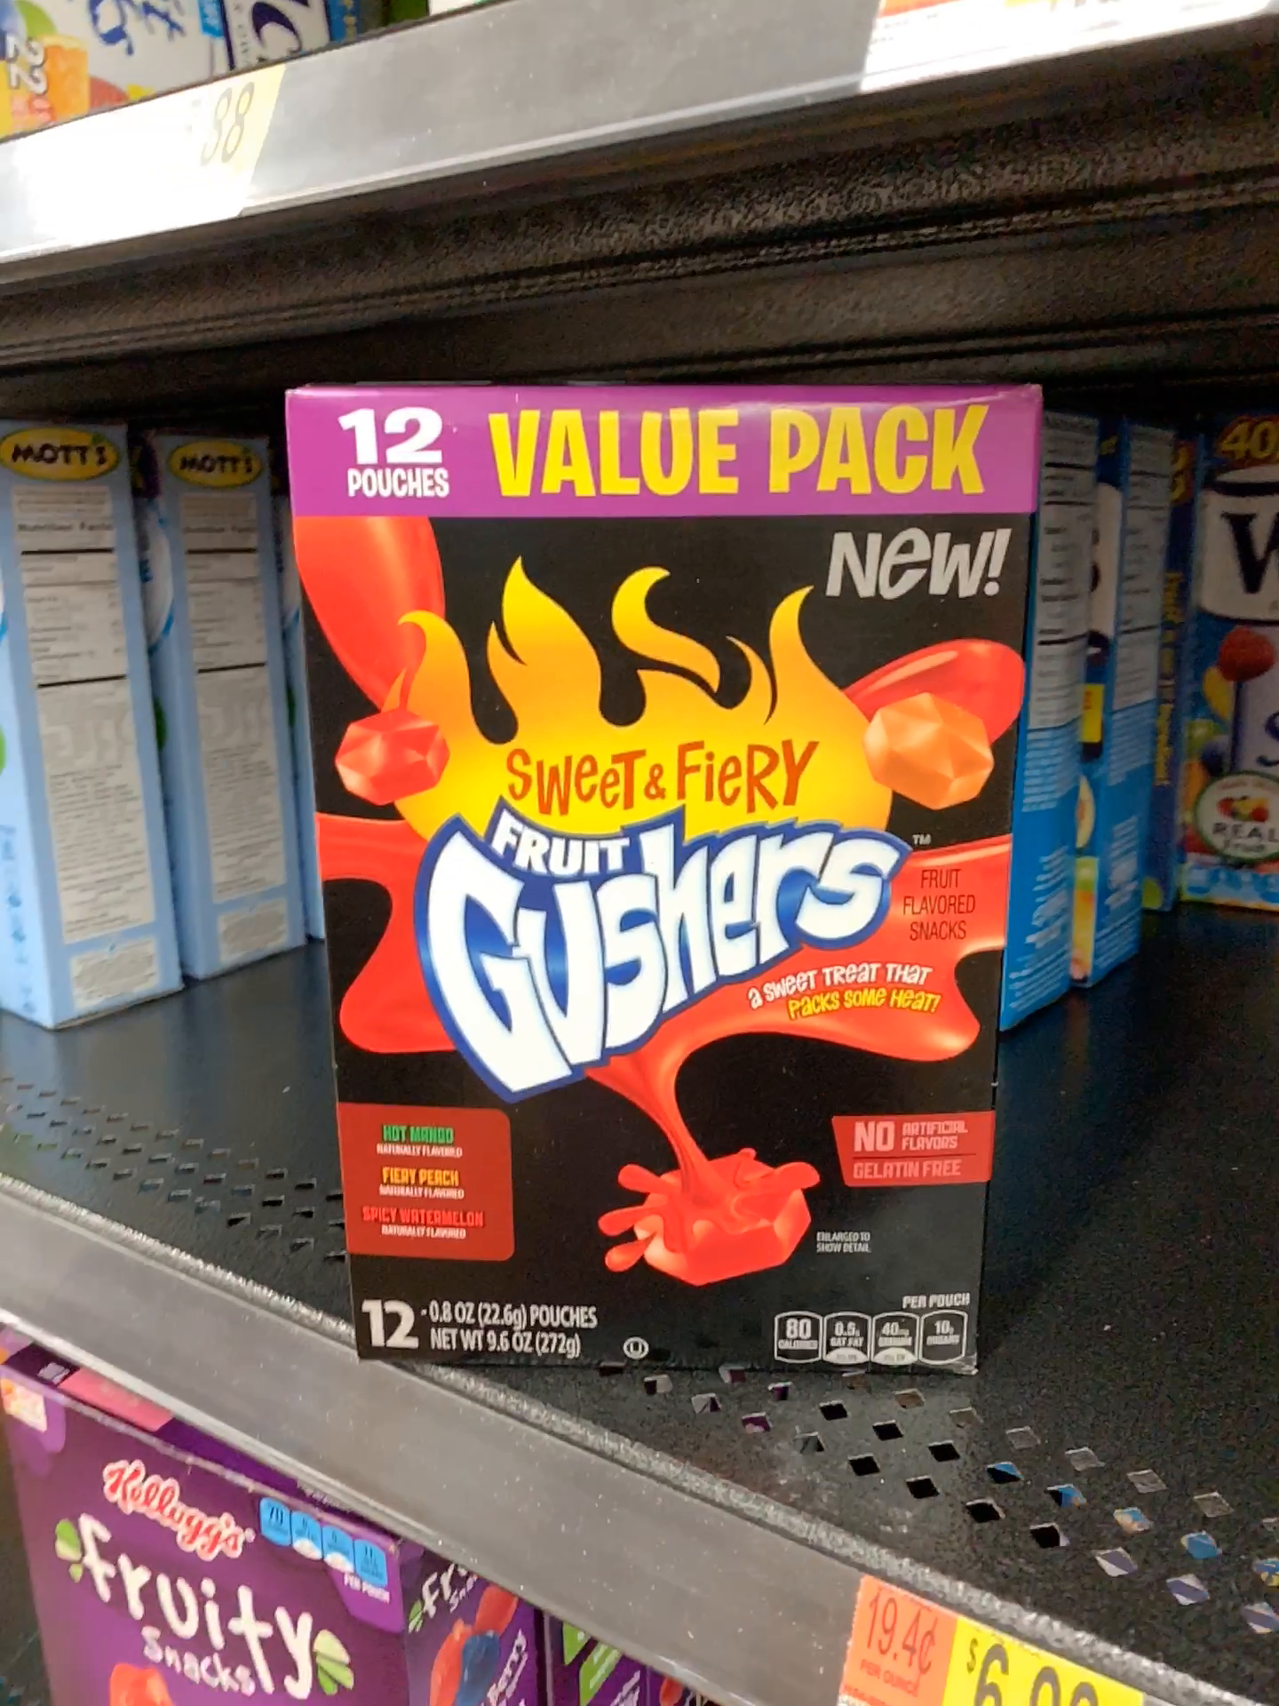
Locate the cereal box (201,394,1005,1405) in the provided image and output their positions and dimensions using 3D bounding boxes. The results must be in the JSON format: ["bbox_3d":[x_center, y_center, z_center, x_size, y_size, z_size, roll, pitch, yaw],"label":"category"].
[{"bbox_3d":[-0.005,0.014,0.301,0.150,0.219,0.050,0,16,3],"label":"cereal box"}]
